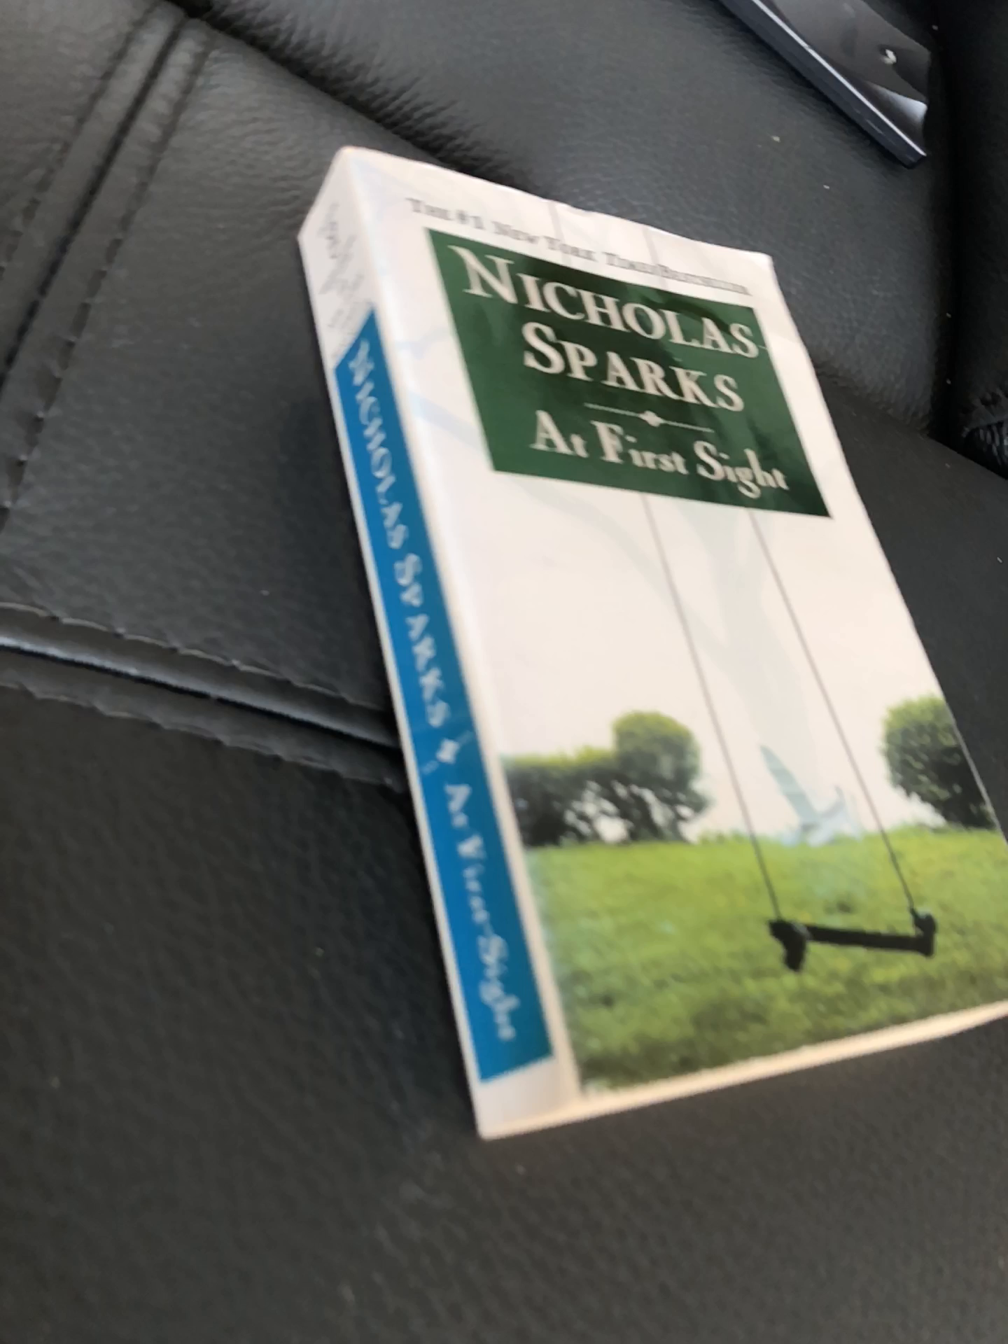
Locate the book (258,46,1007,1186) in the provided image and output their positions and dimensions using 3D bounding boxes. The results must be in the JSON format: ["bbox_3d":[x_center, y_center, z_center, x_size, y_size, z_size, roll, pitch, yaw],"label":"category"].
[{"bbox_3d":[0.029,-0.020,0.210,0.121,0.030,0.190,3,62,-34],"label":"book"}]
